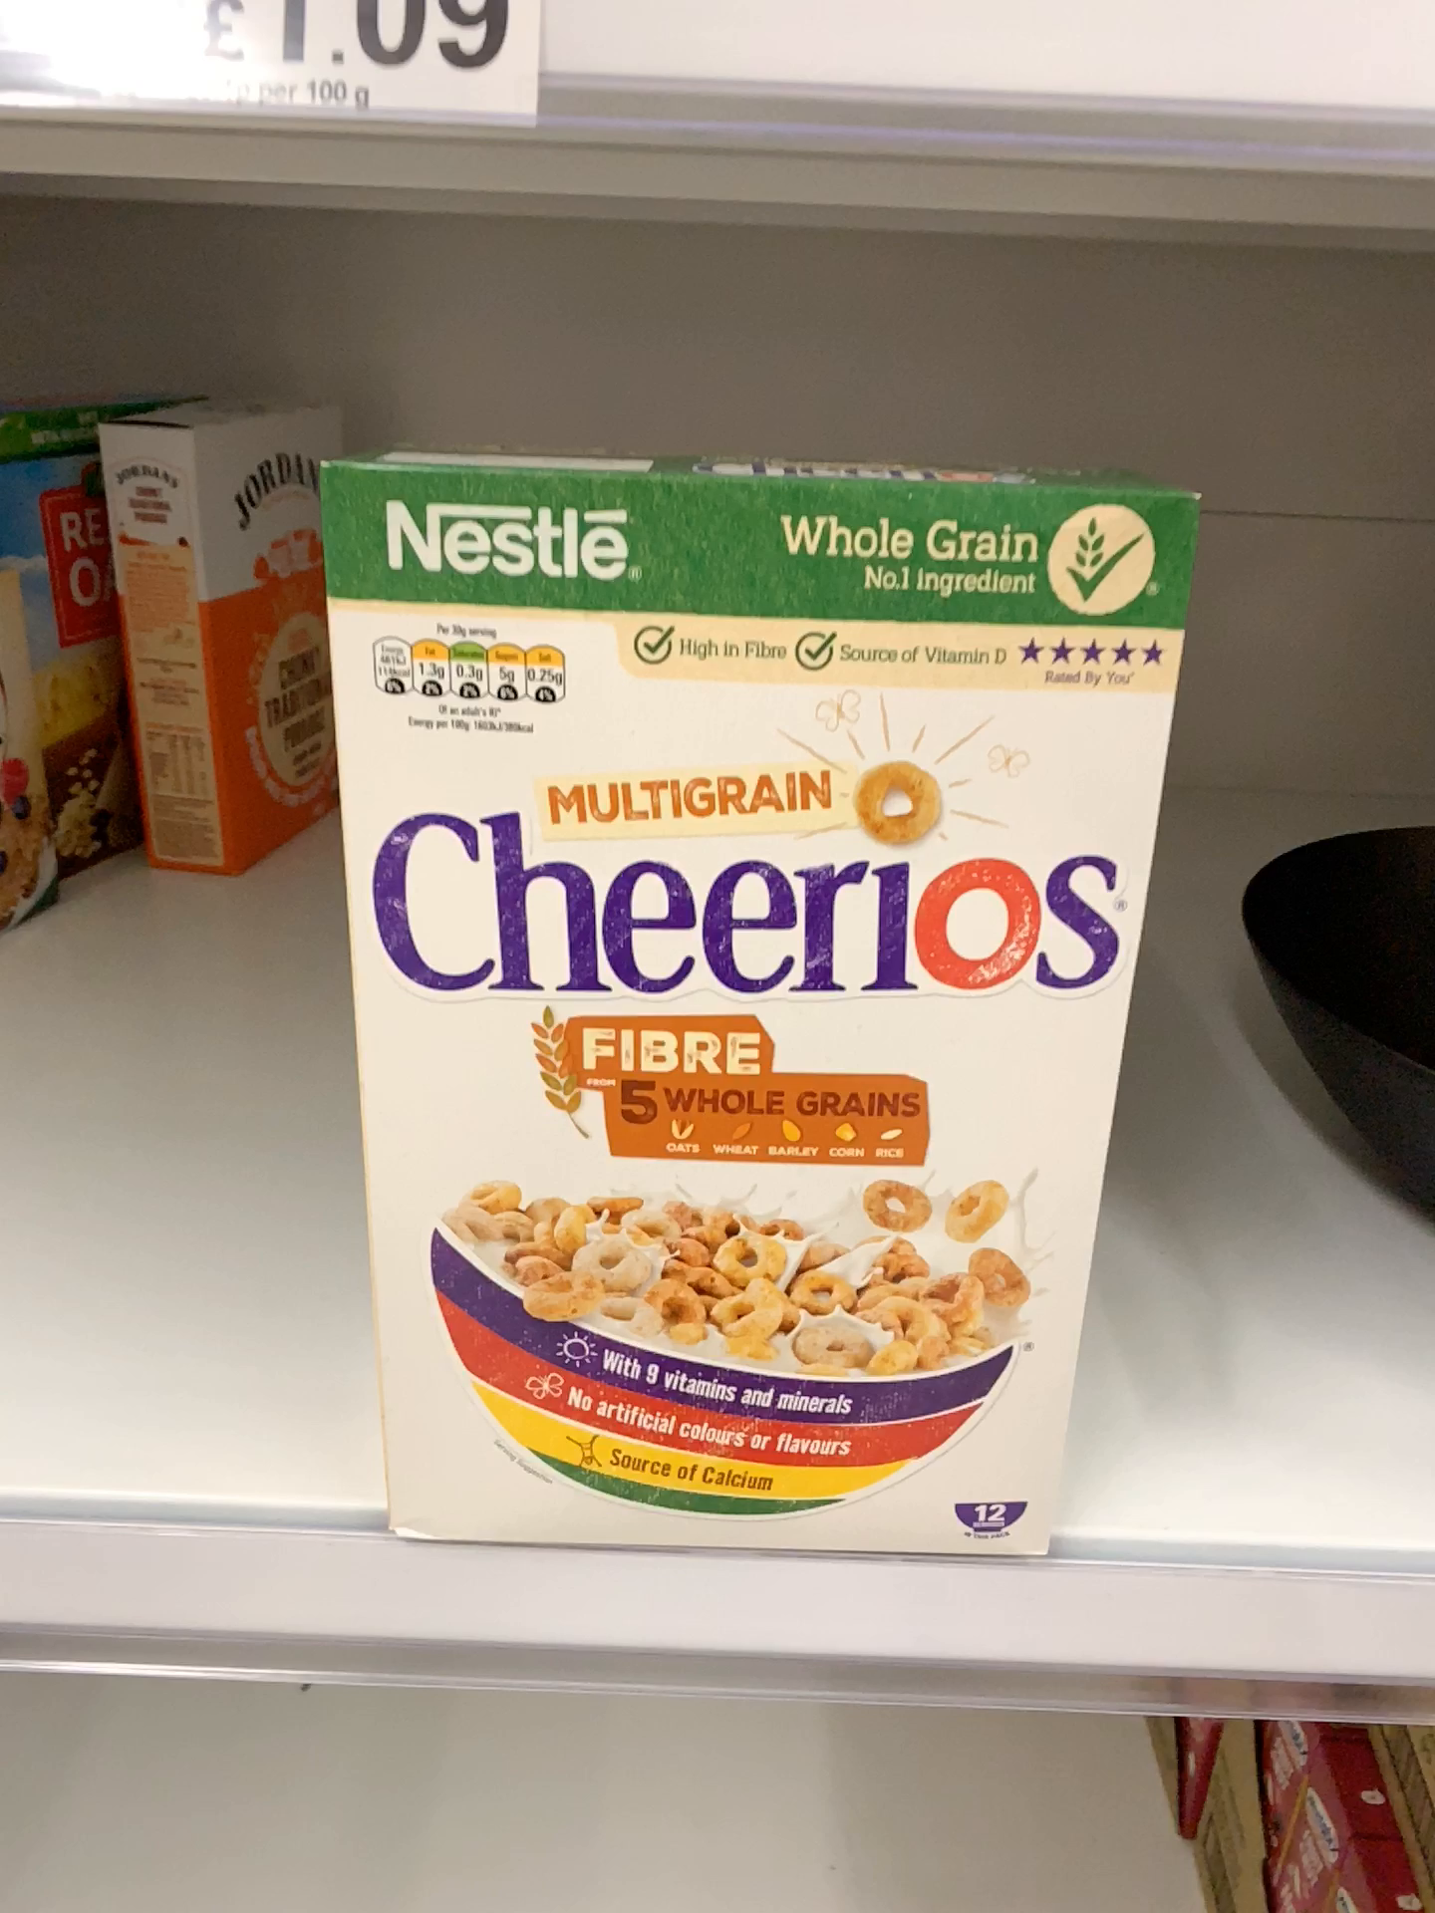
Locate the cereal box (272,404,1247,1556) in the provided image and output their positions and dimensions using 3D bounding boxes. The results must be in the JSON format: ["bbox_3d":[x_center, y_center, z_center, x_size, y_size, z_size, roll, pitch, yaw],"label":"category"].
[{"bbox_3d":[0.004,0.014,0.386,0.200,0.288,0.071,2,21,-1],"label":"cereal box"}]
